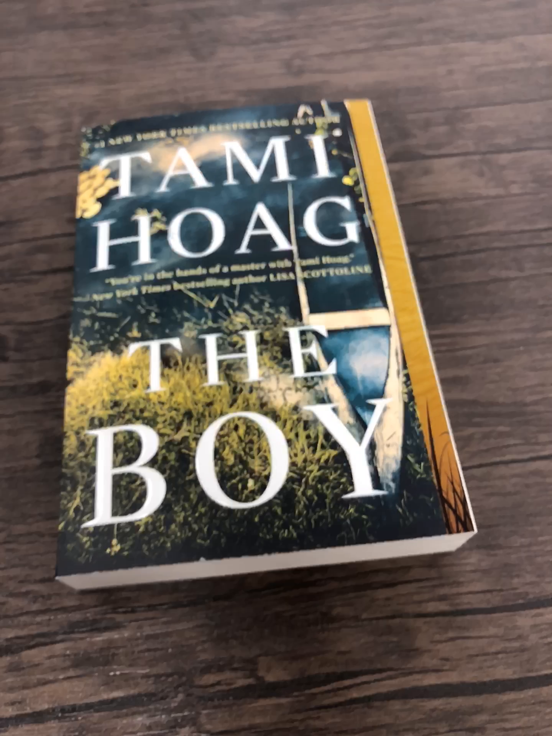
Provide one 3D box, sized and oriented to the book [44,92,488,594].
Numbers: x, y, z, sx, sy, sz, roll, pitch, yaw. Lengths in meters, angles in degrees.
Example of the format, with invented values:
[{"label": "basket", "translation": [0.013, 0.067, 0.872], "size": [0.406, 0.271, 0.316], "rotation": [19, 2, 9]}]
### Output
[{"label": "book", "translation": [-0.012, -0.023, 0.256], "size": [0.139, 0.032, 0.203], "rotation": [-6, 62, 1]}]
